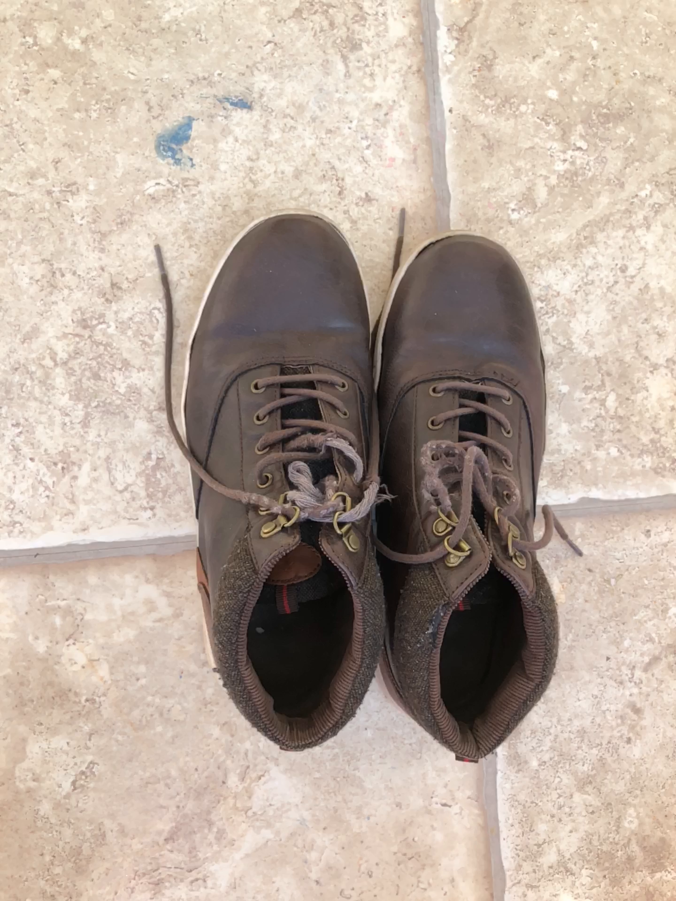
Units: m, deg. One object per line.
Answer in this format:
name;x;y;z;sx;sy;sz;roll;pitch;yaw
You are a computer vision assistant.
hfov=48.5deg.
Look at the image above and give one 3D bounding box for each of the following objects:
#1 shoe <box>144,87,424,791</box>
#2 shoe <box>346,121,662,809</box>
shoe;-0.029;-0.003;0.400;0.110;0.150;0.300;2;88;-6
shoe;0.077;0.009;0.409;0.110;0.150;0.300;4;88;-6
